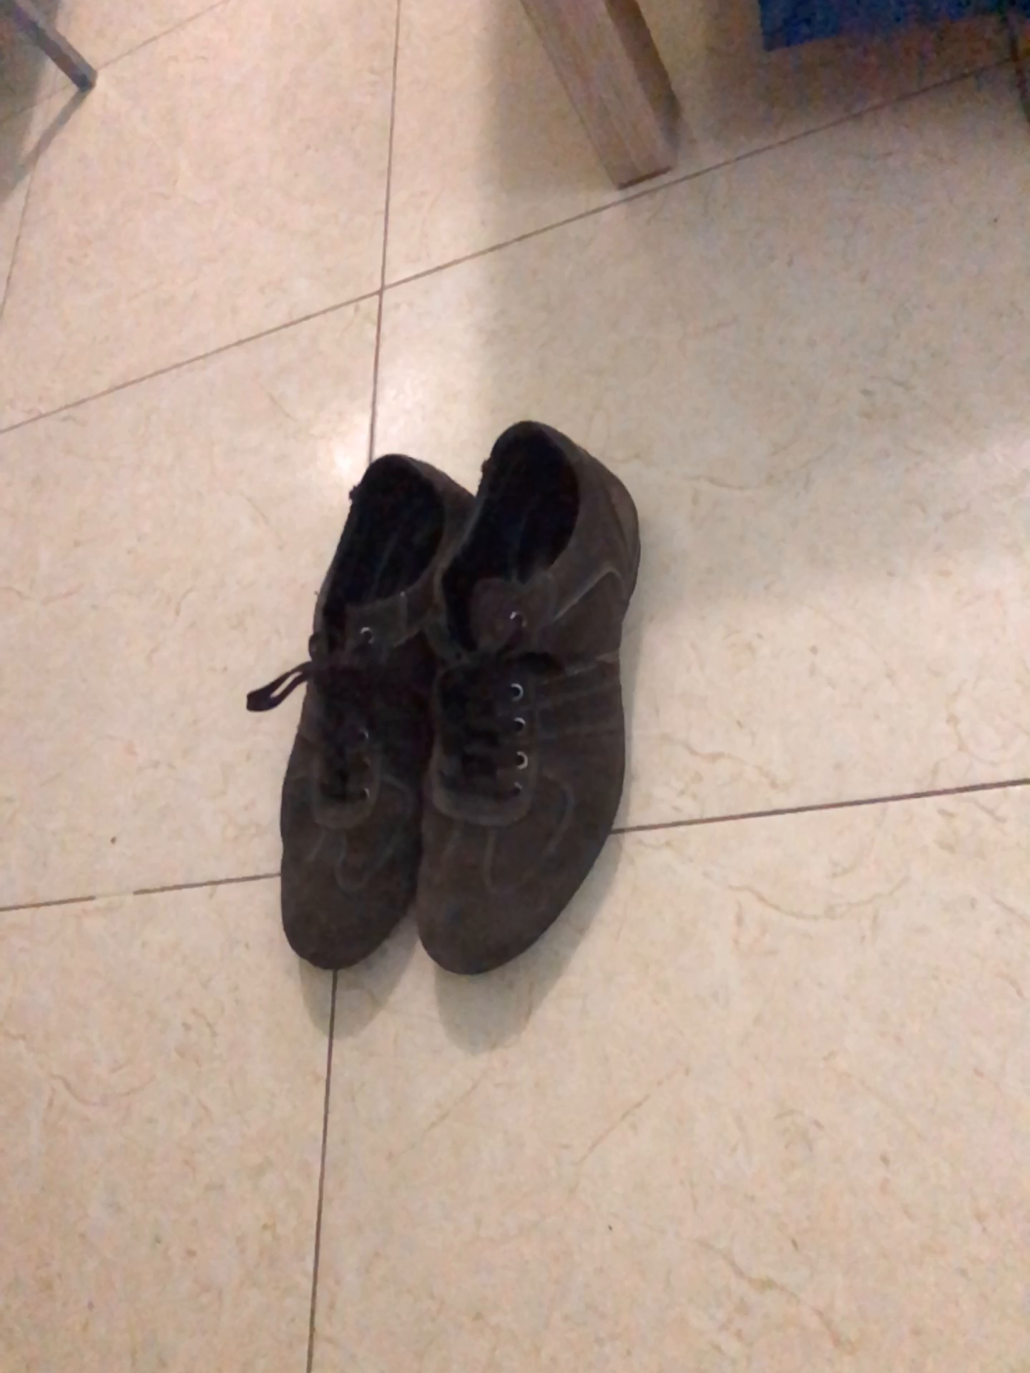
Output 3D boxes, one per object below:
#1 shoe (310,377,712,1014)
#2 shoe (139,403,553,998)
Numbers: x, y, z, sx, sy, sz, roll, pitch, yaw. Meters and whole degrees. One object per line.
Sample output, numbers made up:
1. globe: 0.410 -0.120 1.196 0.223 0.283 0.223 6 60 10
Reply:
1. shoe: 0.009 0.002 0.596 0.110 0.110 0.300 3 70 30
2. shoe: -0.084 0.005 0.640 0.120 0.110 0.300 2 70 29
